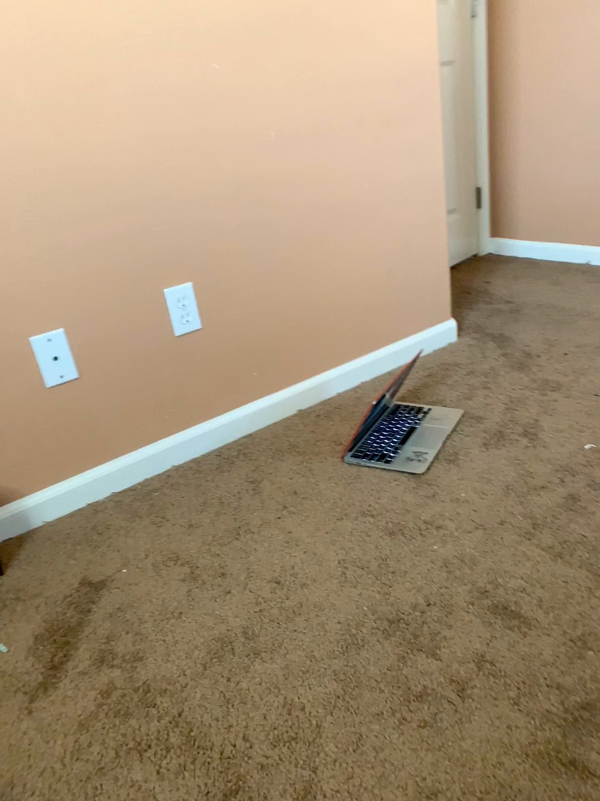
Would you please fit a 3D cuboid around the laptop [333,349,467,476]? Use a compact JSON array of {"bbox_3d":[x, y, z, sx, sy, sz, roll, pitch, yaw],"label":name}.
[{"bbox_3d":[0.238,0.013,1.386,0.193,0.148,0.300,6,29,30],"label":"laptop"}]
